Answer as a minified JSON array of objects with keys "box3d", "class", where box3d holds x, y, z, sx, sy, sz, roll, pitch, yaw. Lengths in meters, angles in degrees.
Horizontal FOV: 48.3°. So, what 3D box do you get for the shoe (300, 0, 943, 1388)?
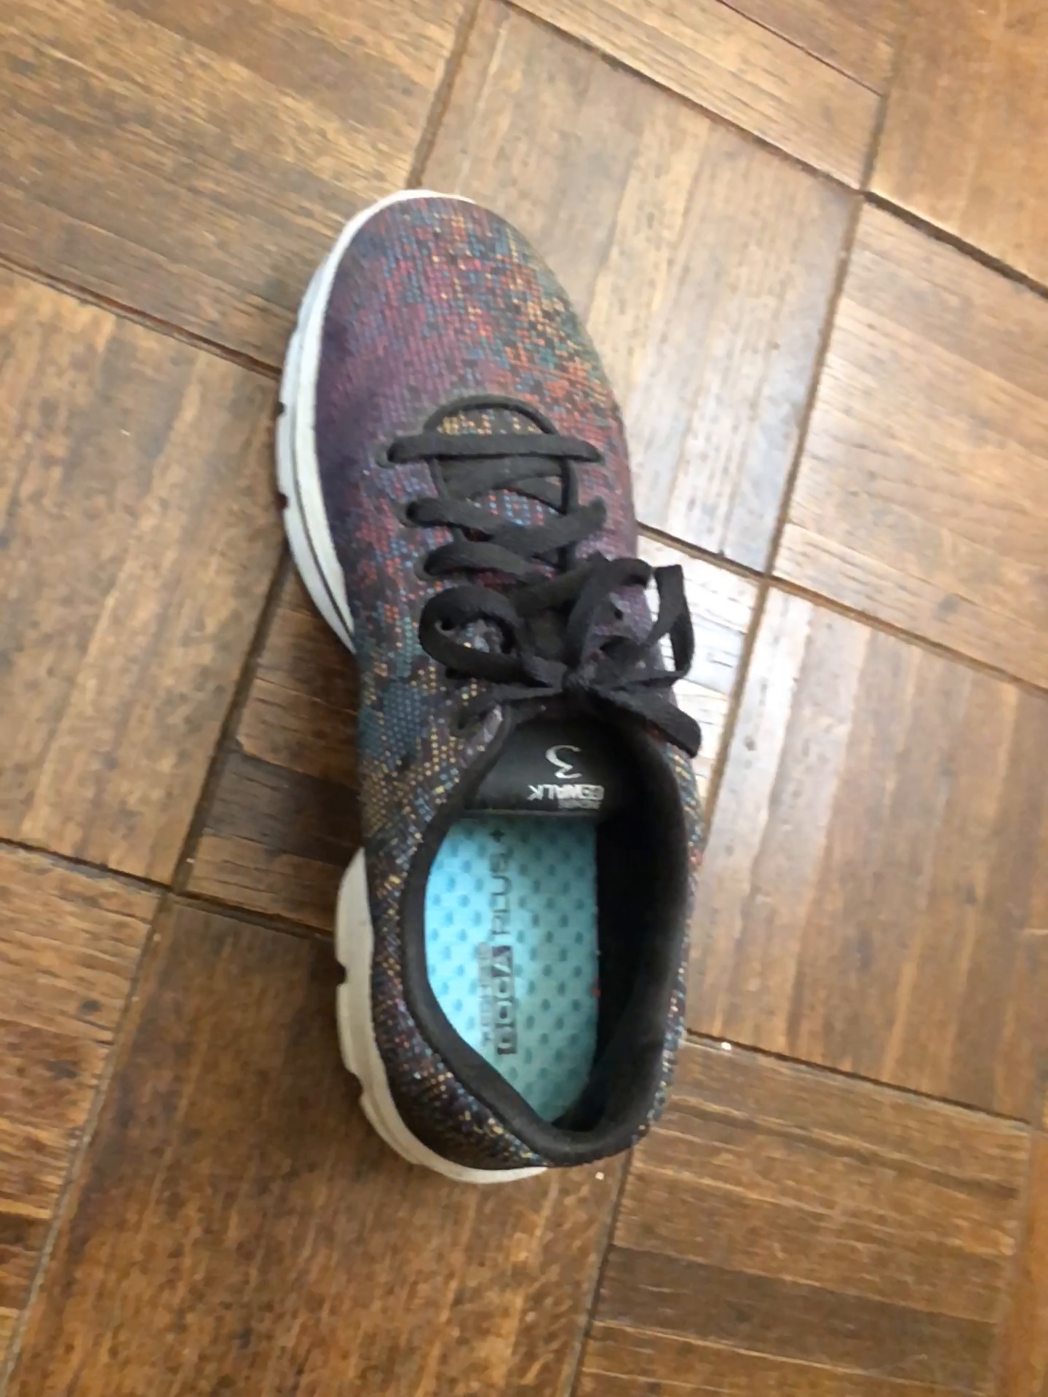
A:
[{"box3d":[0.010,-0.015,0.296,0.110,0.120,0.290,0,84,-20],"class":"shoe"}]
